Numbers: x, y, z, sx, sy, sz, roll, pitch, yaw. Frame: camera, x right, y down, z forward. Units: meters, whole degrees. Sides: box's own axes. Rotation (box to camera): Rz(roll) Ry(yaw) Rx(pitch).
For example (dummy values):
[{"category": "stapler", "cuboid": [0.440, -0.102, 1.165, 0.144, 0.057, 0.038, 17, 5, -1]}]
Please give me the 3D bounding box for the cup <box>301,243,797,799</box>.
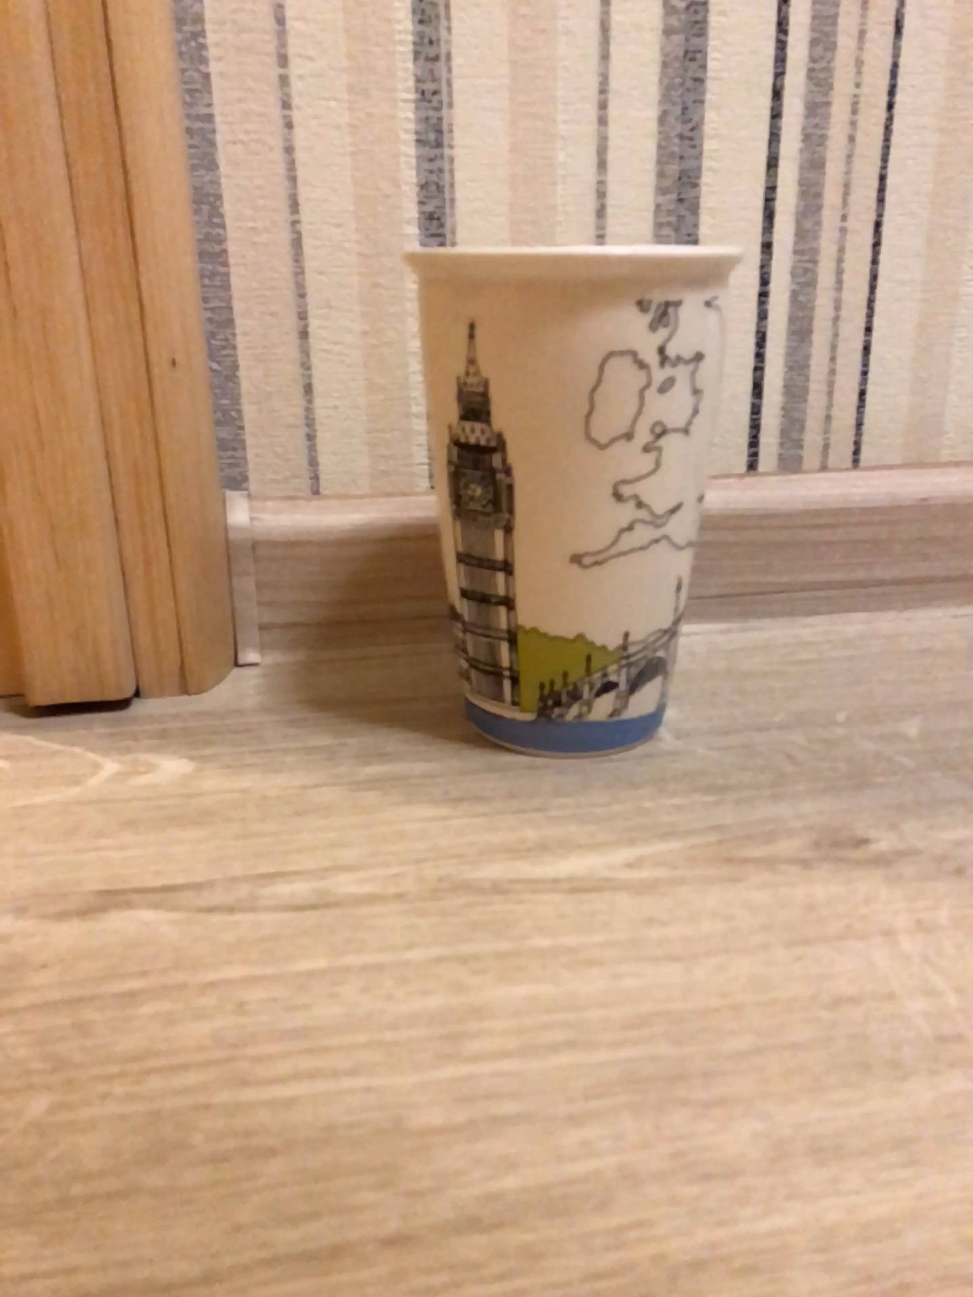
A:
[{"category": "cup", "cuboid": [0.017, -0.048, 0.315, 0.097, 0.133, 0.095, -1, 20, 0]}]
